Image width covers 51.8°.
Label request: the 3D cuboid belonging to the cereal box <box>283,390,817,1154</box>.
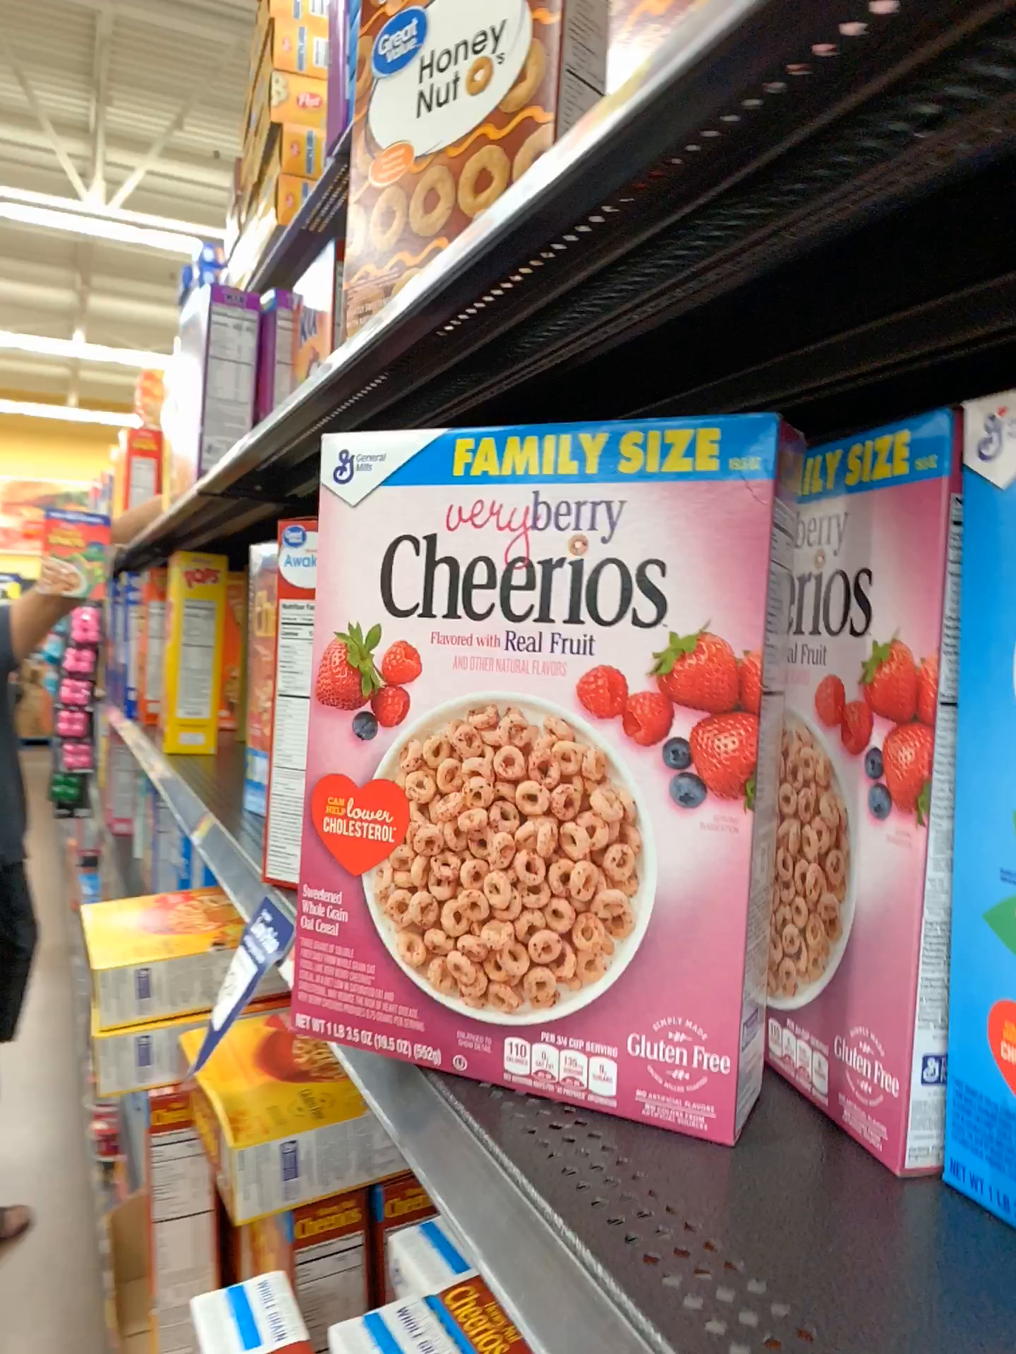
[{"bbox_3d":[0.014,0.033,0.517,0.240,0.320,0.060,4,0,26],"label":"cereal box"}]
